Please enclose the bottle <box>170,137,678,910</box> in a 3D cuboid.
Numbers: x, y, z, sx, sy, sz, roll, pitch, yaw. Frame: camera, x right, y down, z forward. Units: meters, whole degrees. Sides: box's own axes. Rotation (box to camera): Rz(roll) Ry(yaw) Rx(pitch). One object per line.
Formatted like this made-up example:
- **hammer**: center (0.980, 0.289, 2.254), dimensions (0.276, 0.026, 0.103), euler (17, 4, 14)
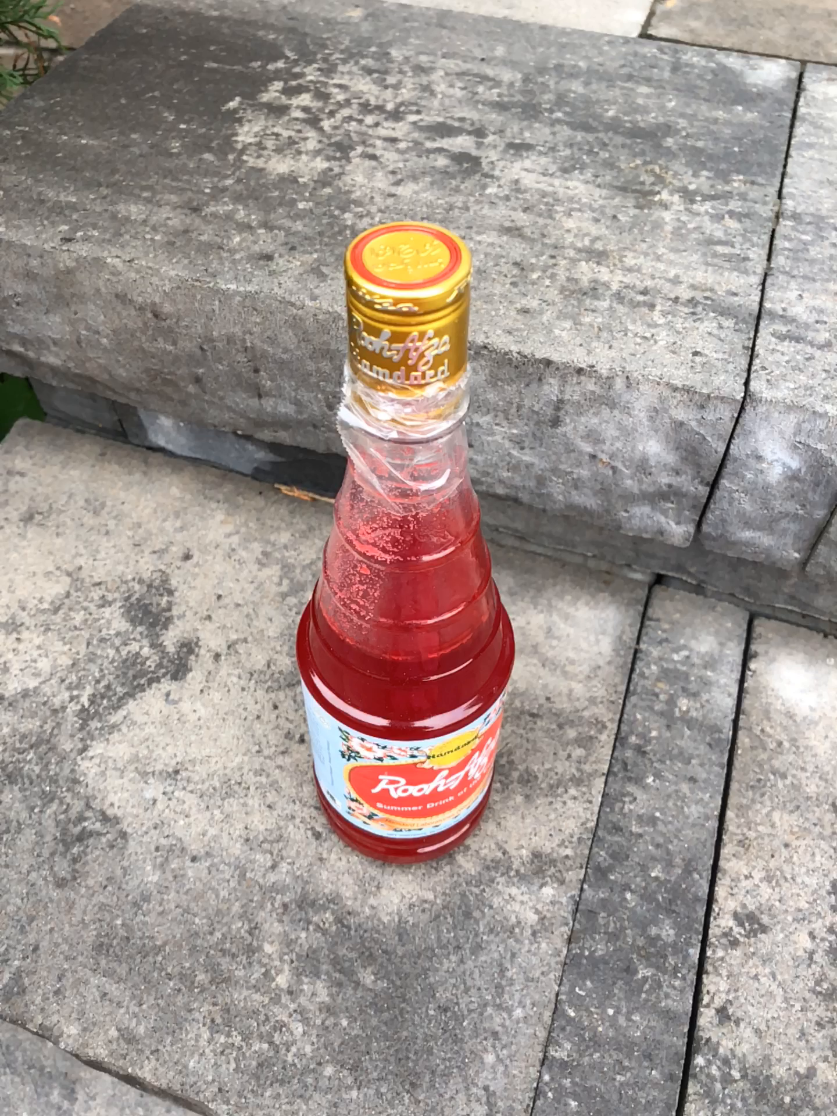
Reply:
- **bottle**: center (-0.004, 0.019, 0.319), dimensions (0.090, 0.279, 0.080), euler (-18, 54, -15)
